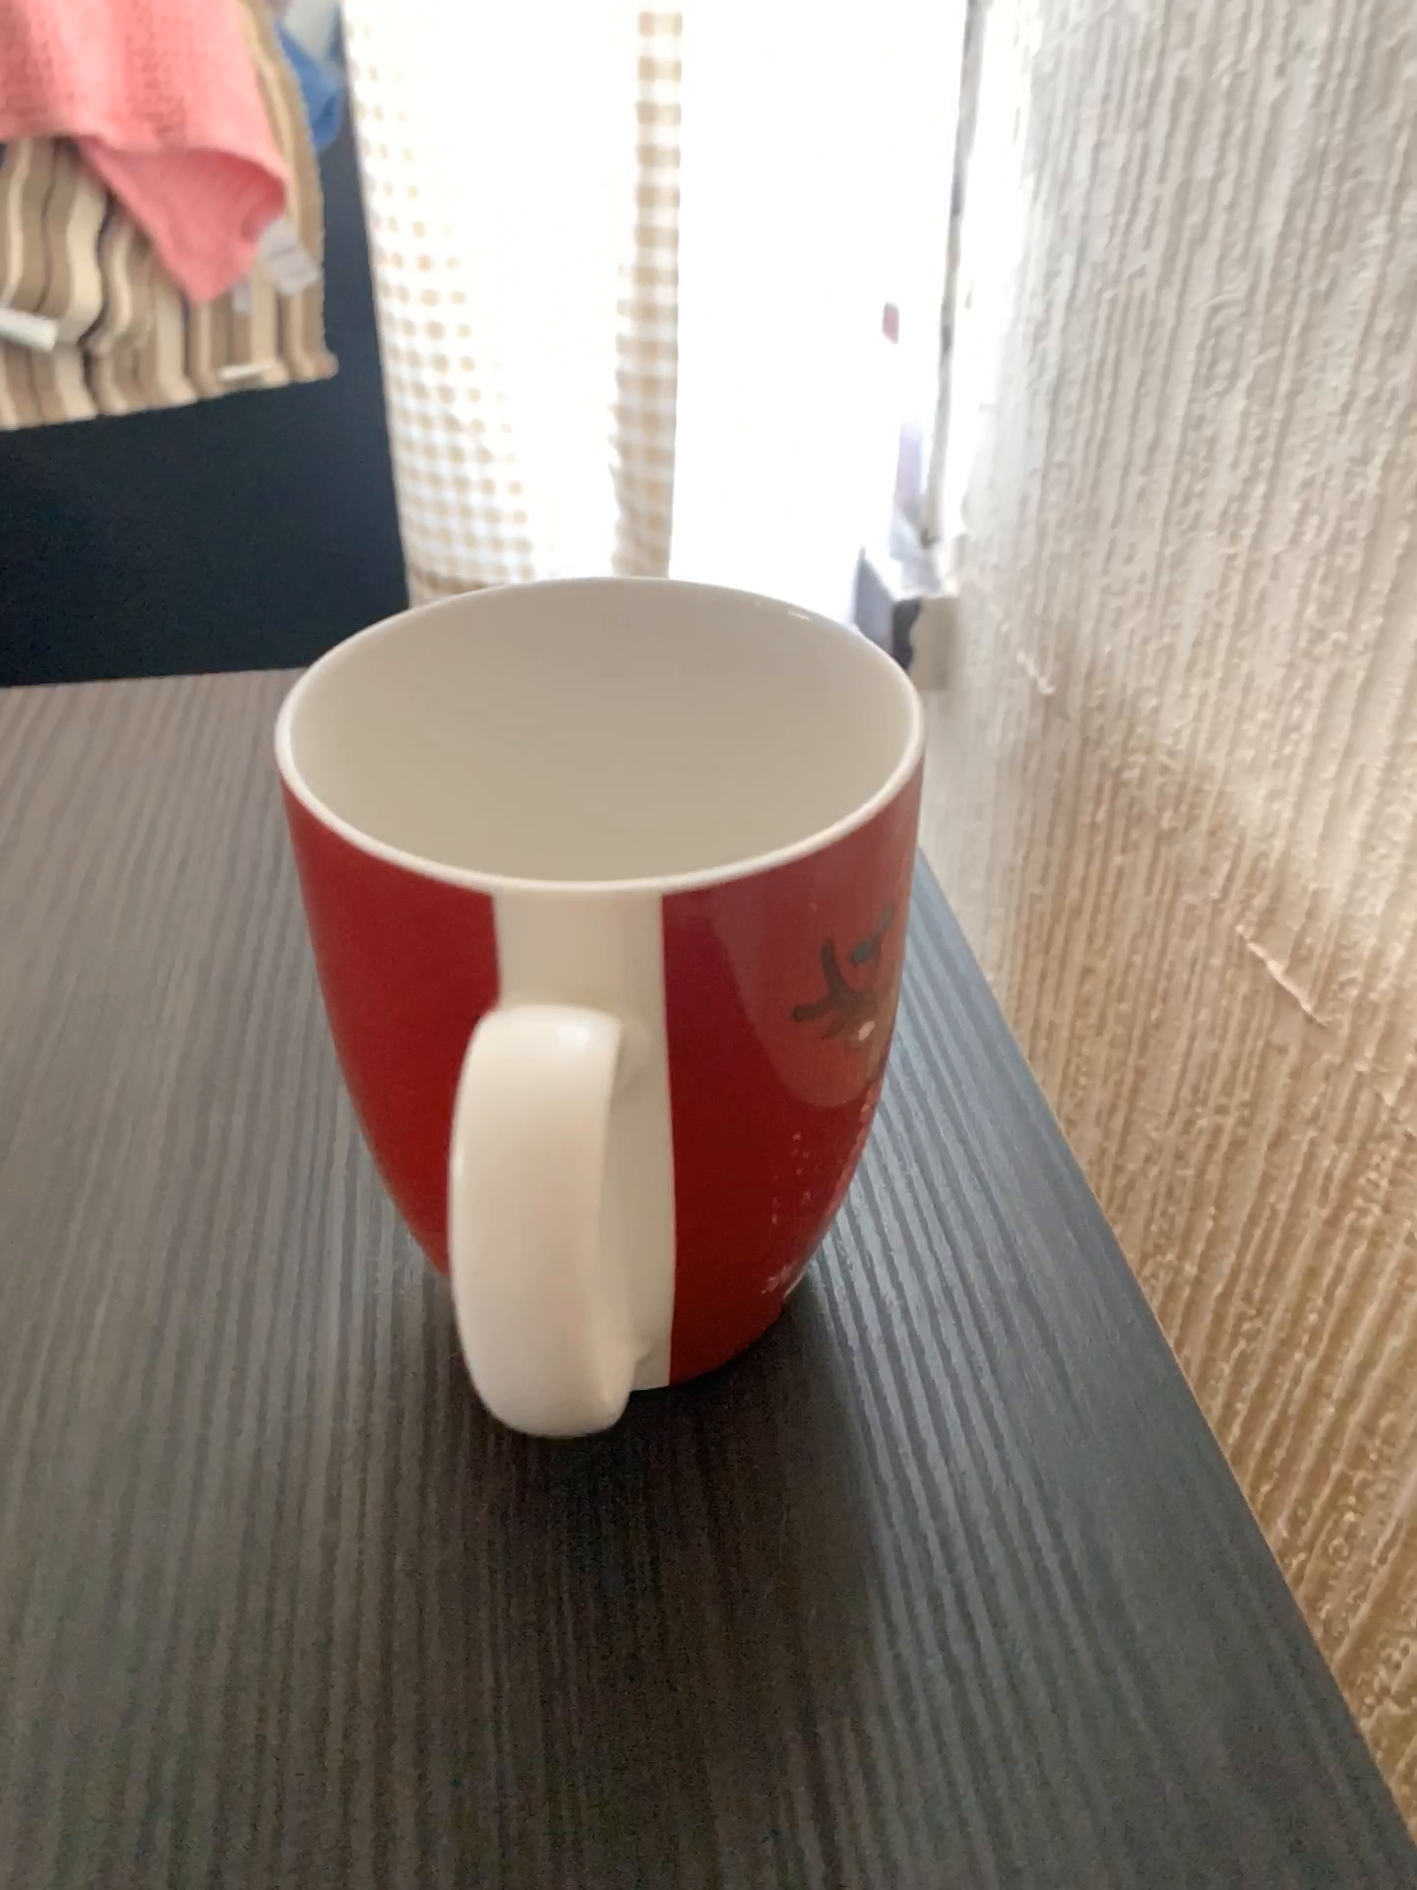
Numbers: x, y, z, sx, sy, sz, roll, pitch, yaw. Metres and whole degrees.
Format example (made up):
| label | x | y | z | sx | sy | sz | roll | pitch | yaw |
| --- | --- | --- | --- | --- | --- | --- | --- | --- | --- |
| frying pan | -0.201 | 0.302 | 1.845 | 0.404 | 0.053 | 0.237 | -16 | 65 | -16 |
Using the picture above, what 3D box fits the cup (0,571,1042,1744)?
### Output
| label | x | y | z | sx | sy | sz | roll | pitch | yaw |
| --- | --- | --- | --- | --- | --- | --- | --- | --- | --- |
| cup | -0.017 | 0.018 | 0.199 | 0.090 | 0.089 | 0.131 | 1 | 36 | 1 |
